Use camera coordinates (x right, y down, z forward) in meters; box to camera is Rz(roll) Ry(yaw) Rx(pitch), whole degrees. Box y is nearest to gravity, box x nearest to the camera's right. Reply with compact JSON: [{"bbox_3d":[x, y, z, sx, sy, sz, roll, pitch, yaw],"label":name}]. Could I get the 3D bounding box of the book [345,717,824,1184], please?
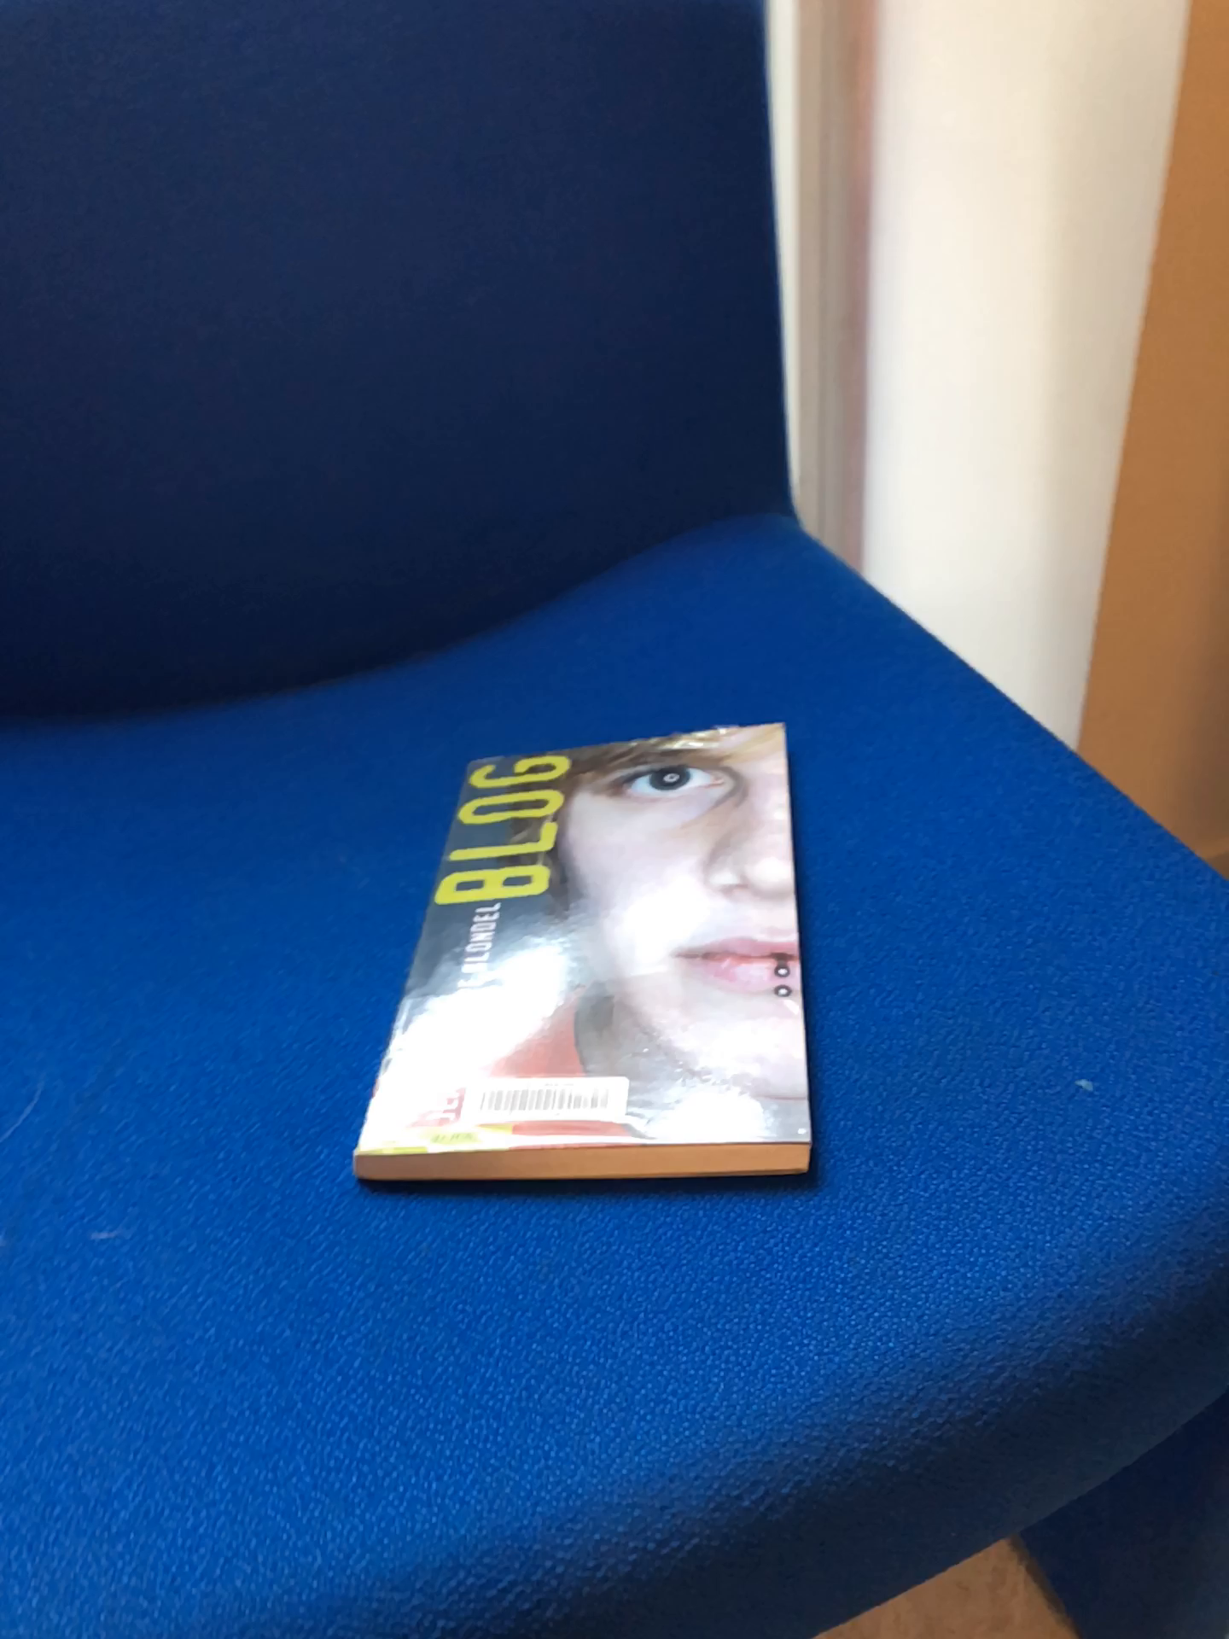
[{"bbox_3d":[-0.001,0.035,0.493,0.142,0.018,0.221,-2,37,7],"label":"book"}]
